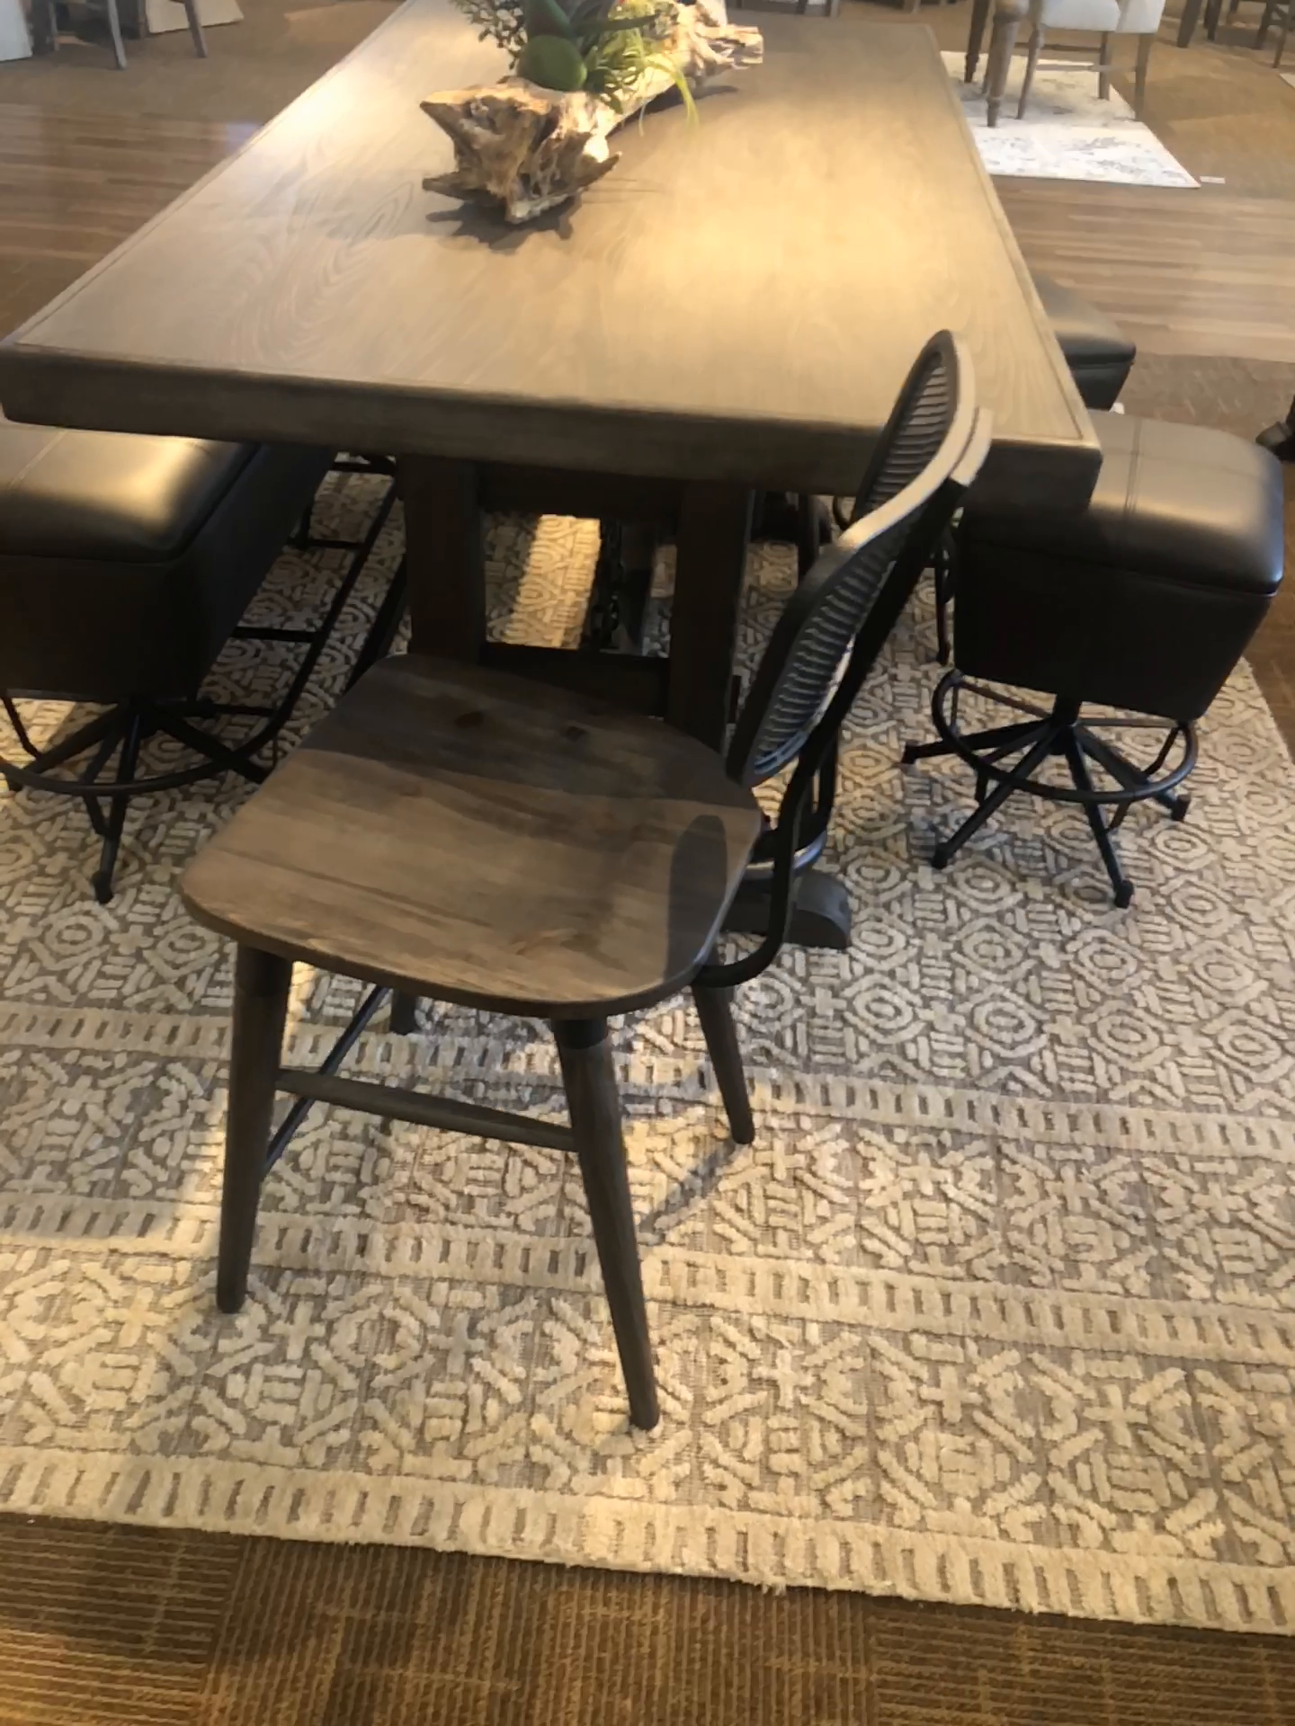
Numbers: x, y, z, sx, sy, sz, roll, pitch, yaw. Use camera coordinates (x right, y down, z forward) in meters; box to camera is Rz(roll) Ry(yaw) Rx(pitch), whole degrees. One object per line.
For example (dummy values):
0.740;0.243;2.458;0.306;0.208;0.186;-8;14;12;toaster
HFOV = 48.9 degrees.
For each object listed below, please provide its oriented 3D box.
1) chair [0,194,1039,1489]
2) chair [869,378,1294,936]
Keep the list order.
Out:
-0.079;0.001;1.291;0.604;0.947;0.509;13;40;12;chair
0.647;-0.326;2.086;0.519;0.488;0.638;10;39;7;chair
